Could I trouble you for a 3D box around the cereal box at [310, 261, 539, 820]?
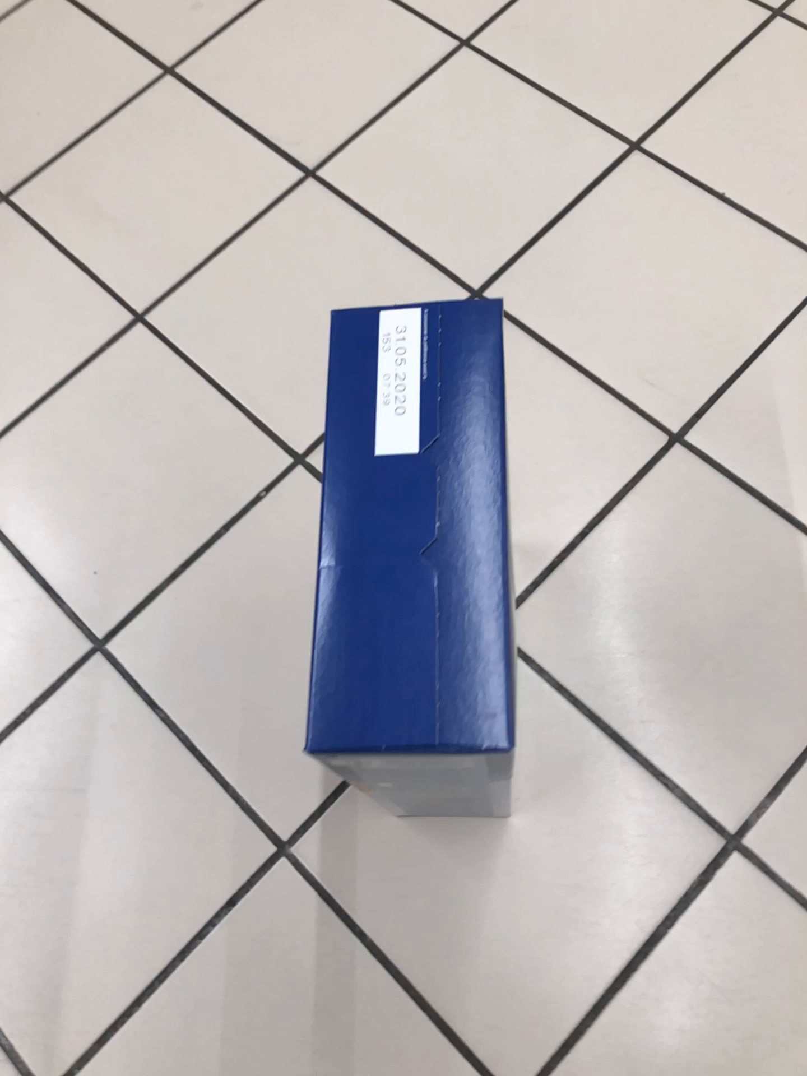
[{"bbox_3d":[0.018,0.030,0.480,0.080,0.279,0.211,-2,68,4],"label":"cereal box"}]
